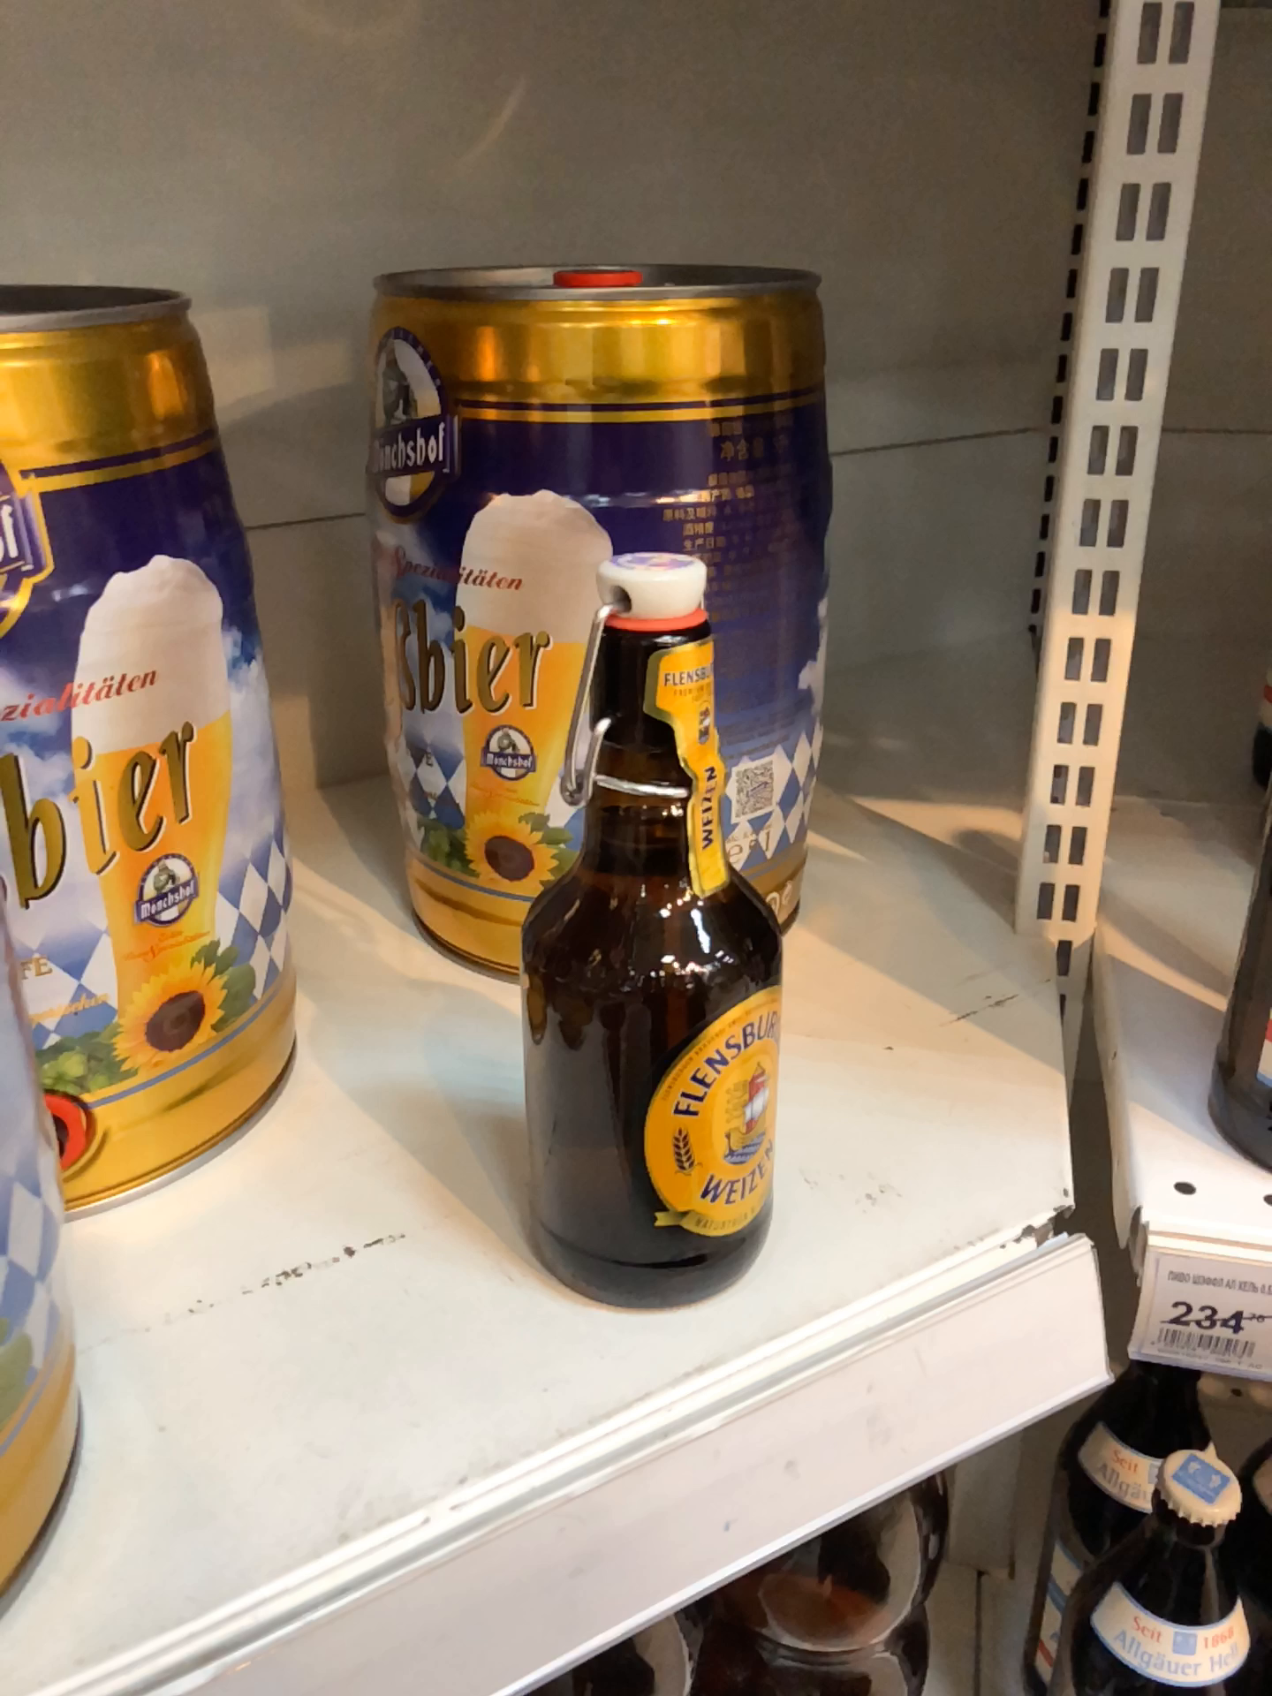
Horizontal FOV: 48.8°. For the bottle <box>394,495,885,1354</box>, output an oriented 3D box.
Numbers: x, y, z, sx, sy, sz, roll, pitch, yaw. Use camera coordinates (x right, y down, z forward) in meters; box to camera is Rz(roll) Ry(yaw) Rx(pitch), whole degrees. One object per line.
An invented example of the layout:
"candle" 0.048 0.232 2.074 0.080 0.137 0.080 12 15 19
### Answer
"bottle" 0.001 0.016 0.362 0.080 0.189 0.080 -1 25 0
